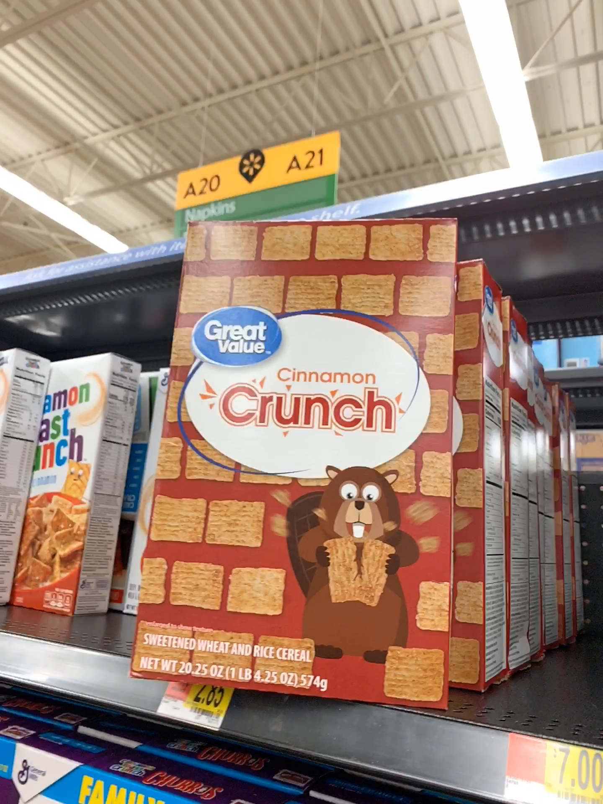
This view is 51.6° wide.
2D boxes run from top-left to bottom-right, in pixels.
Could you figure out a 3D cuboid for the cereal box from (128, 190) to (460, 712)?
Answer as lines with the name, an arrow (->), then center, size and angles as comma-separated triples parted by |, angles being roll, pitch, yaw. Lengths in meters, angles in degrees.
cereal box -> 0.007, 0.019, 0.438 | 0.190, 0.331, 0.070 | 3, -14, 6
